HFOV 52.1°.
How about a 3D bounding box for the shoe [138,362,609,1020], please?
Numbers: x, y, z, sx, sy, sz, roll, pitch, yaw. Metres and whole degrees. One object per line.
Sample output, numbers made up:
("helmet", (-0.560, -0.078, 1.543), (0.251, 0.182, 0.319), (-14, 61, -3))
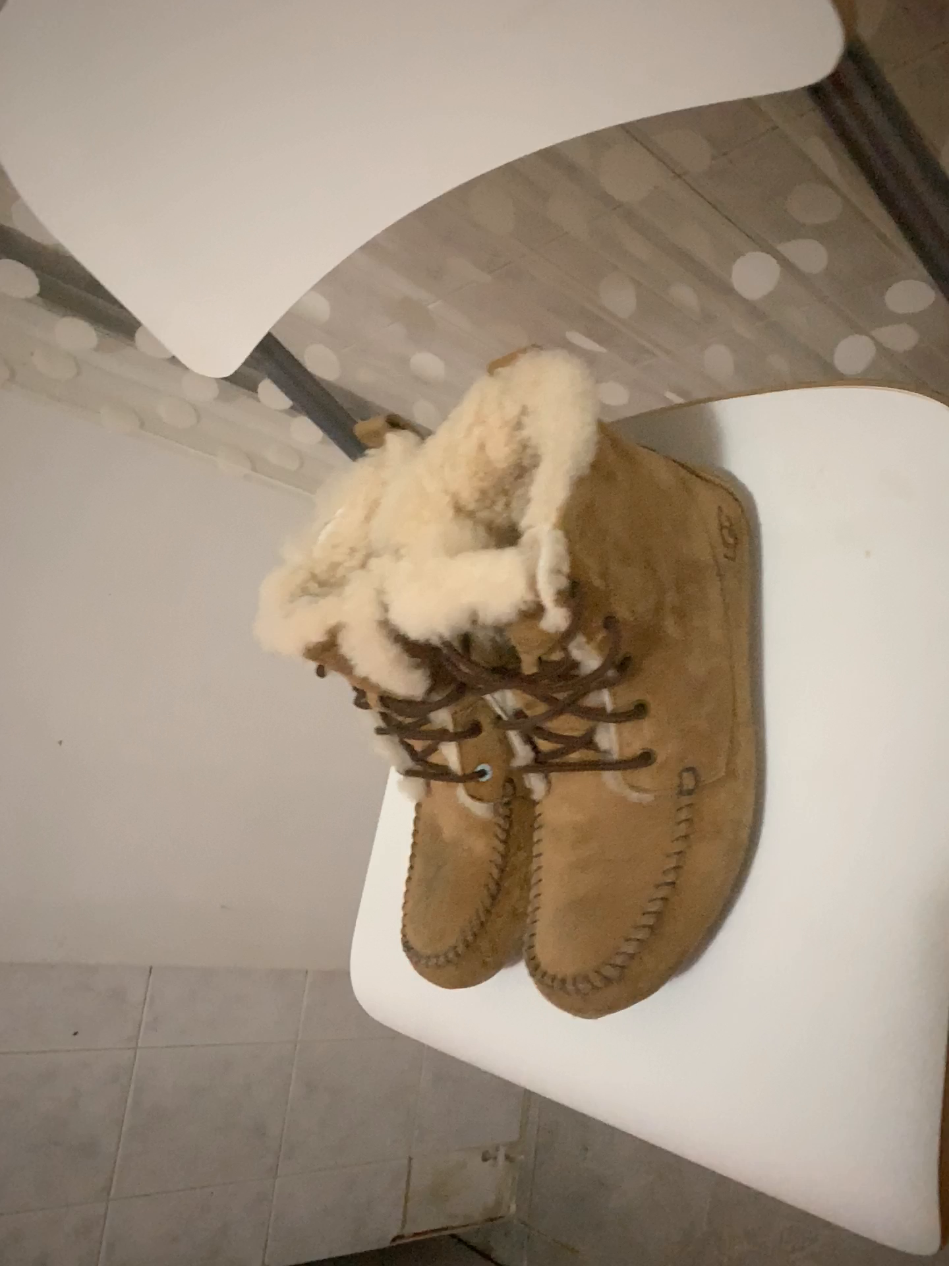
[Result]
("shoe", (-0.038, 0.036, 0.452), (0.107, 0.155, 0.251), (-9, 70, 48))

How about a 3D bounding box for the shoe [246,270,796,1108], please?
("shoe", (0.028, 0.028, 0.377), (0.114, 0.156, 0.251), (-9, 70, 48))
